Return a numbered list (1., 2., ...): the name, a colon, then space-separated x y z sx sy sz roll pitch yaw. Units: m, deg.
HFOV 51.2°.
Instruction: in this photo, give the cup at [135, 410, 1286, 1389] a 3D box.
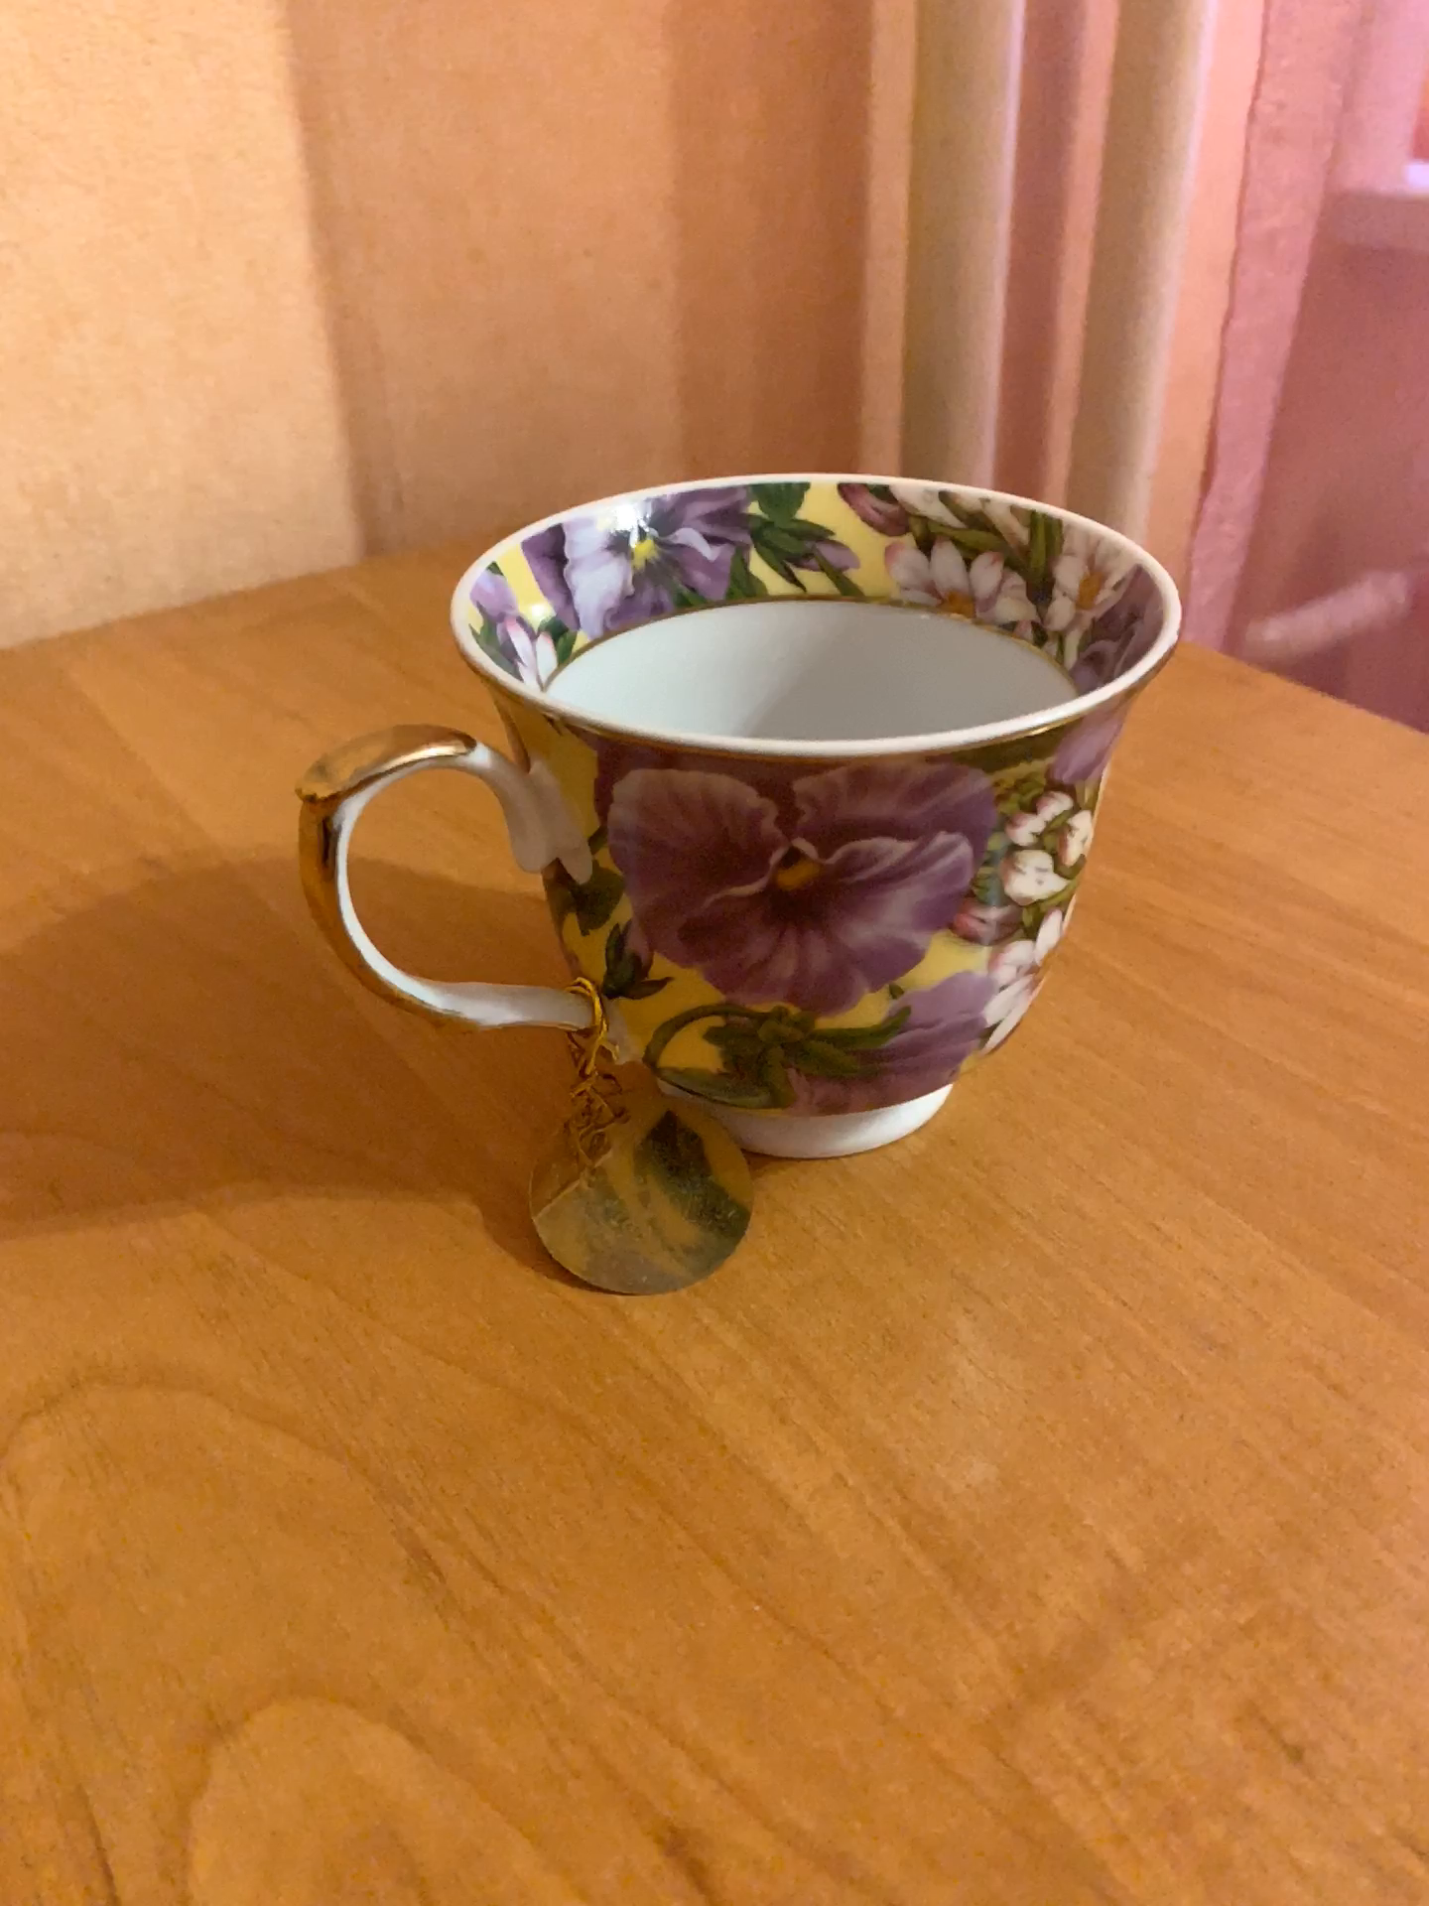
1. cup: -0.001 -0.017 0.191 0.109 0.069 0.077 -21 38 -26
